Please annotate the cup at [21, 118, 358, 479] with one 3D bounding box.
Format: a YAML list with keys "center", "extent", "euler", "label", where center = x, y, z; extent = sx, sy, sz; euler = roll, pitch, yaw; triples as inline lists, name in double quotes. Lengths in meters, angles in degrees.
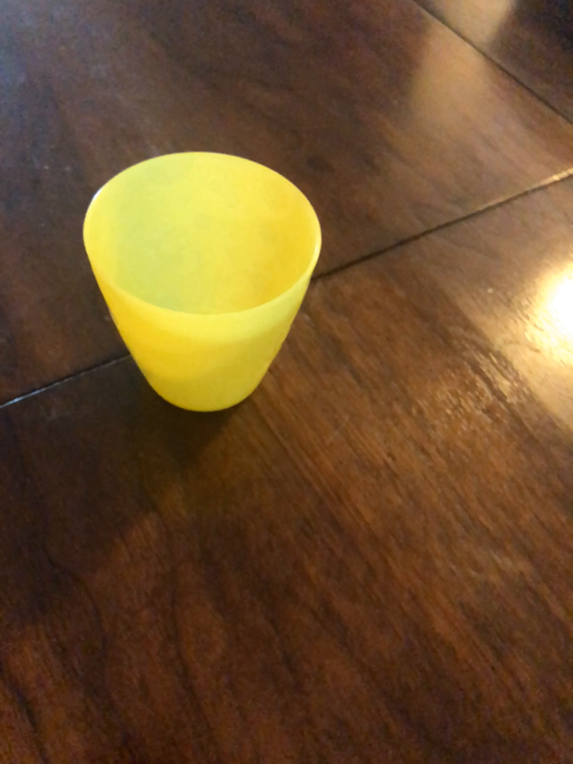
- center: [-0.036, -0.031, 0.237]
  extent: [0.080, 0.080, 0.080]
  euler: [3, 56, -5]
  label: "cup"
